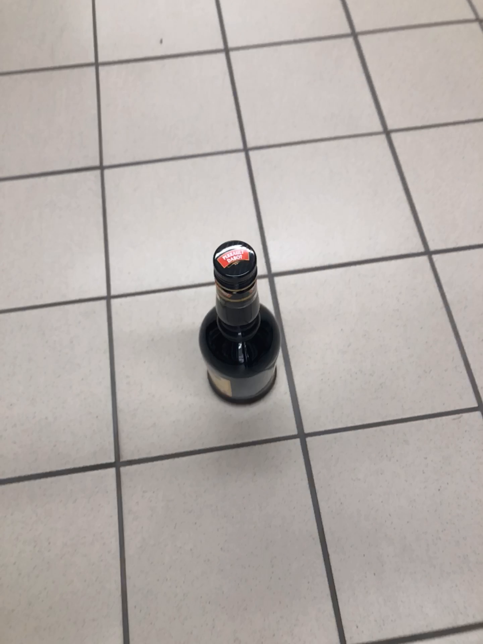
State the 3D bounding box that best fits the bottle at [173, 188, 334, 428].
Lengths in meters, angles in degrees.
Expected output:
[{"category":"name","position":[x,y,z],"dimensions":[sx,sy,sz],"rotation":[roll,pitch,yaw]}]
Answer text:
[{"category":"bottle","position":[0.009,0.008,0.490],"dimensions":[0.080,0.259,0.090],"rotation":[-25,67,-10]}]
